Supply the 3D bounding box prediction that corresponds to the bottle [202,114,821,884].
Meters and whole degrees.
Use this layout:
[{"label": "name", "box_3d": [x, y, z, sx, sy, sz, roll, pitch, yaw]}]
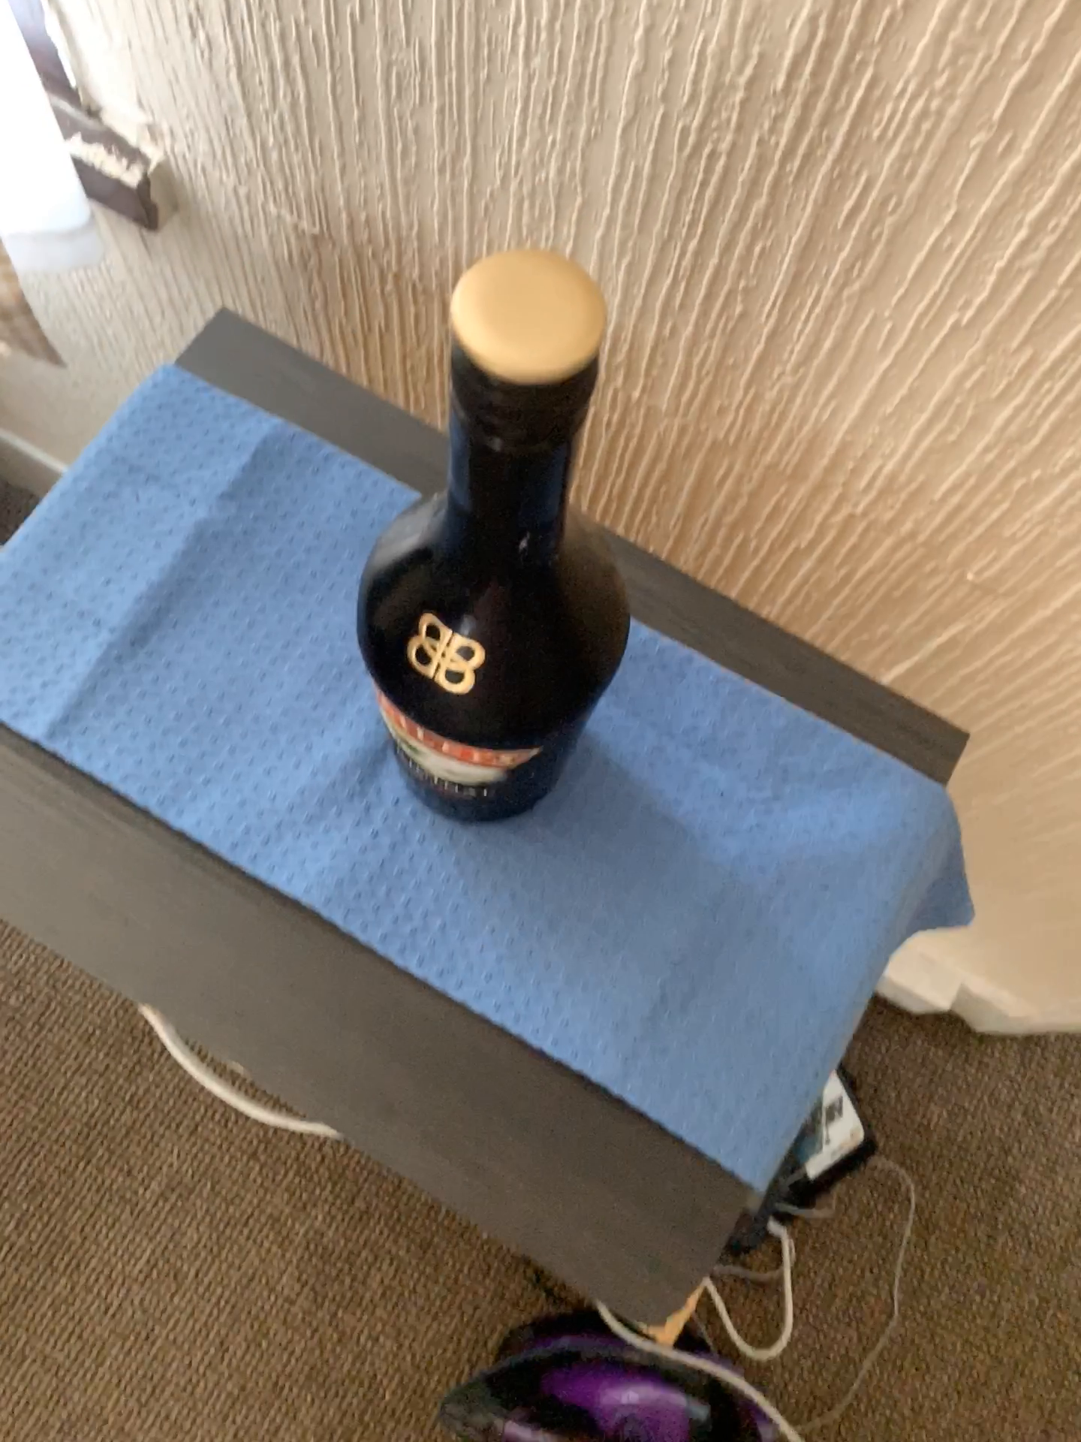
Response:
[{"label": "bottle", "box_3d": [-0.014, -0.026, 0.340, 0.090, 0.289, 0.070, 31, 73, 5]}]
